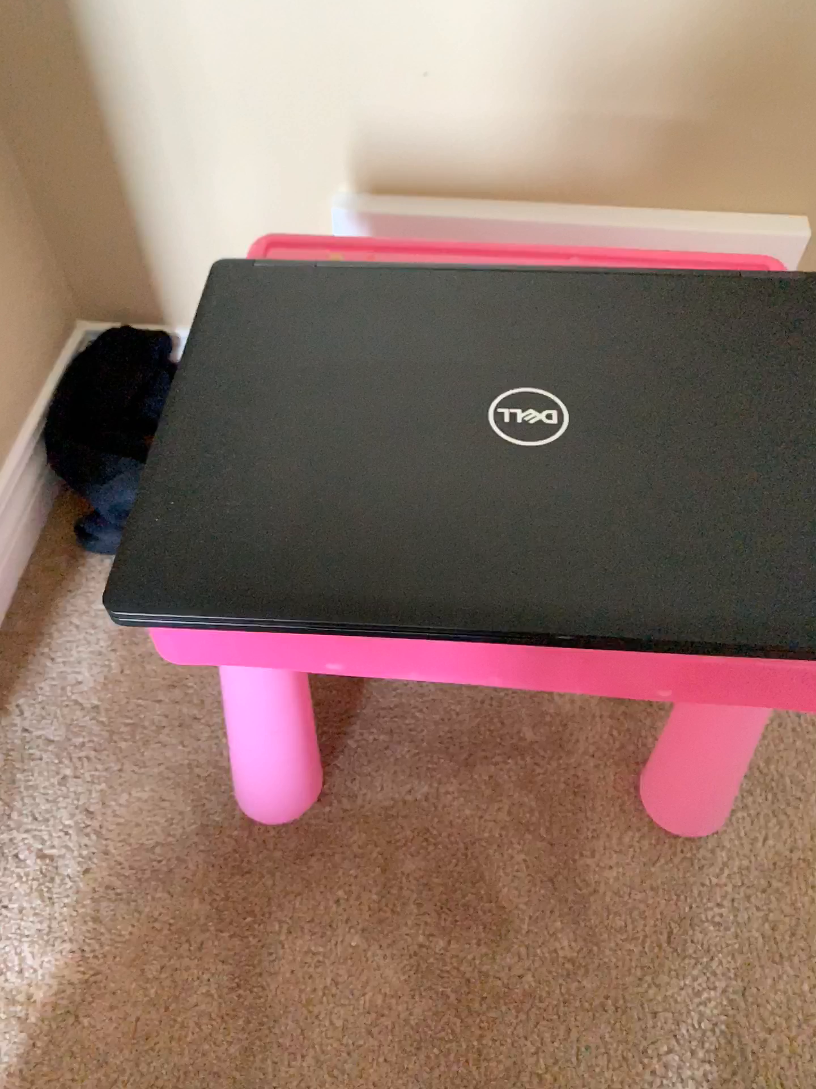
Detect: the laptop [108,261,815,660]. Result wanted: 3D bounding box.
[{"bbox_3d":[0.060,-0.061,0.422,0.366,0.005,0.241,2,55,4],"label":"laptop"}]
